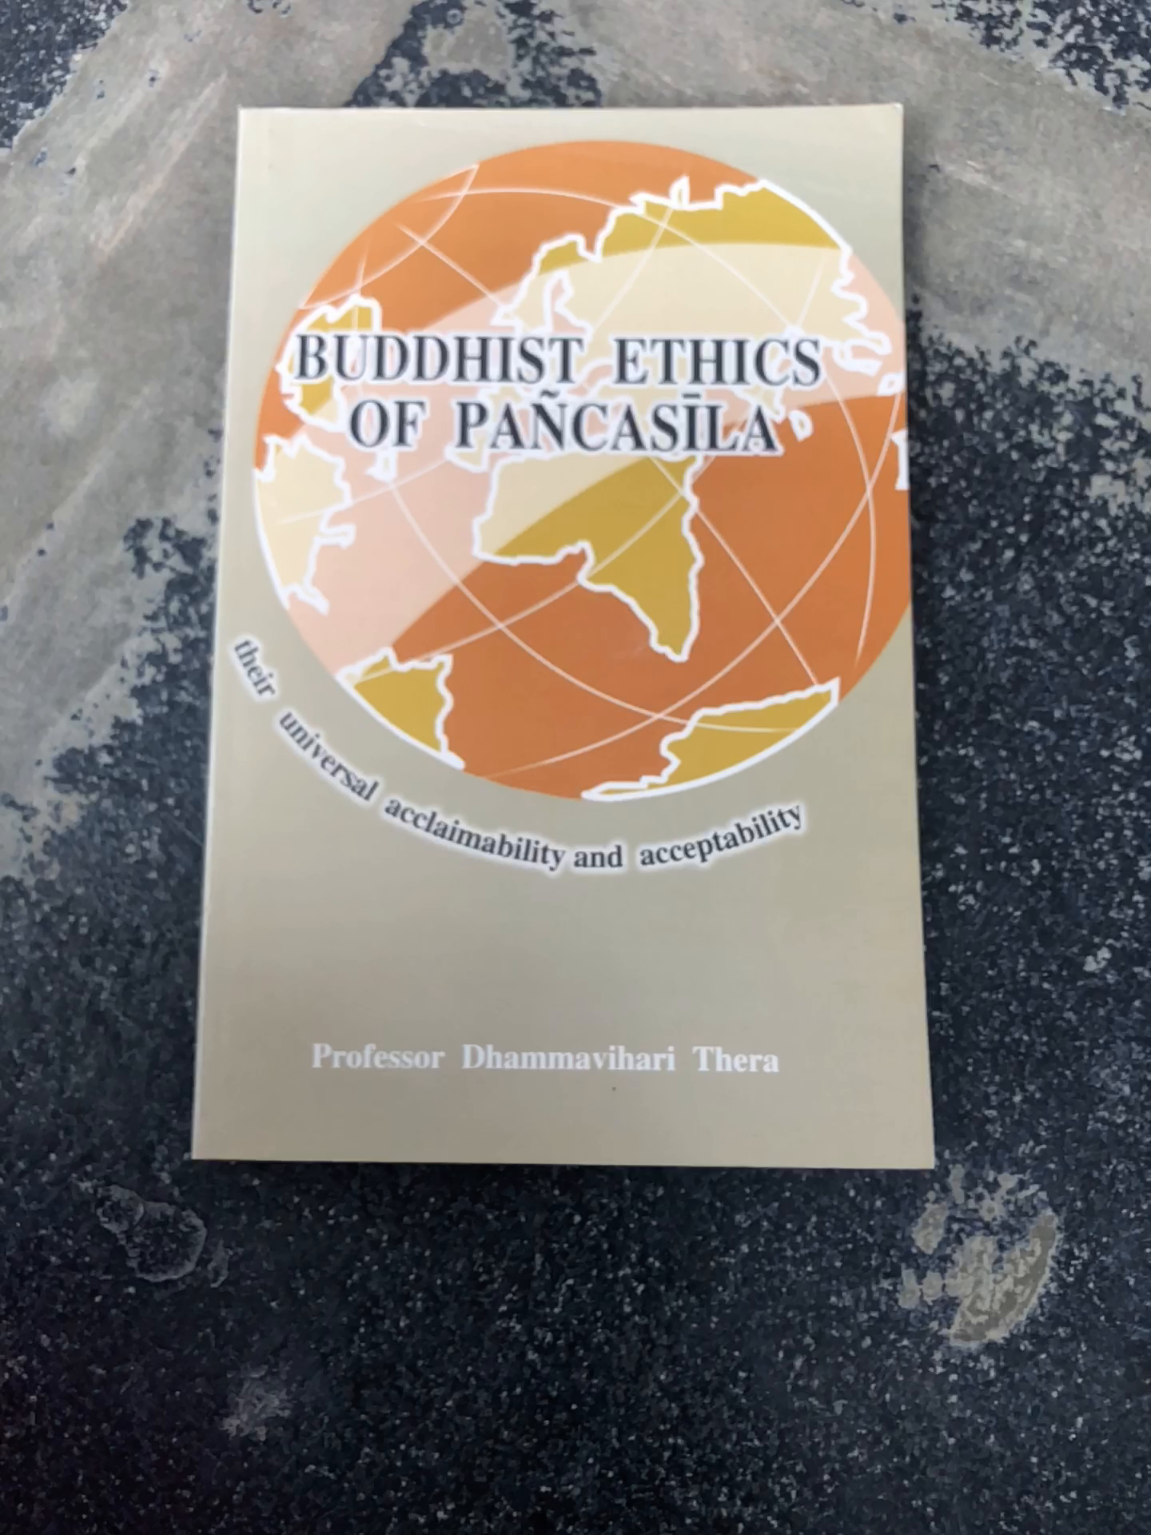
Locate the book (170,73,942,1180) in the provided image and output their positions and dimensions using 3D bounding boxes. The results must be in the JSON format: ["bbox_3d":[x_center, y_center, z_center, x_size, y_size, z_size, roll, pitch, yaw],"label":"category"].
[{"bbox_3d":[-0.004,-0.034,0.257,0.140,0.010,0.220,0,81,-1],"label":"book"}]
